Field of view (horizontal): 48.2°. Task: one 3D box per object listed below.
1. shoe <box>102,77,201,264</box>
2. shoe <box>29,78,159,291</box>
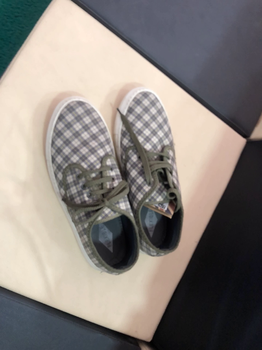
[{"bbox_3d":[0.028,-0.009,0.475,0.100,0.100,0.260,-9,95,-14],"label":"shoe"},{"bbox_3d":[-0.056,0.012,0.444,0.100,0.100,0.270,-18,98,-13],"label":"shoe"}]
